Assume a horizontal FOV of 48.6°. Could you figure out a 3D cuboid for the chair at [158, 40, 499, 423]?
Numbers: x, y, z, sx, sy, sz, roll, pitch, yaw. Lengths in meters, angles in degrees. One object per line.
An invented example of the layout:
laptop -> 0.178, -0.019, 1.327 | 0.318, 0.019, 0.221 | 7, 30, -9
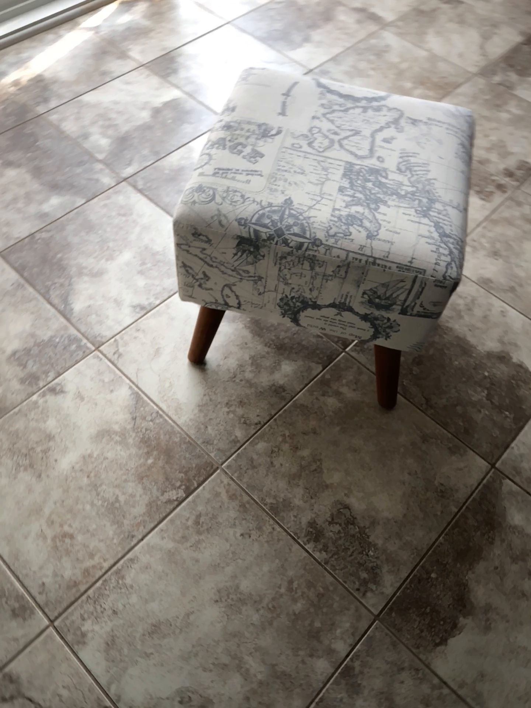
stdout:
chair -> 0.116, -0.210, 0.982 | 0.420, 0.319, 0.471 | 13, 57, 5
